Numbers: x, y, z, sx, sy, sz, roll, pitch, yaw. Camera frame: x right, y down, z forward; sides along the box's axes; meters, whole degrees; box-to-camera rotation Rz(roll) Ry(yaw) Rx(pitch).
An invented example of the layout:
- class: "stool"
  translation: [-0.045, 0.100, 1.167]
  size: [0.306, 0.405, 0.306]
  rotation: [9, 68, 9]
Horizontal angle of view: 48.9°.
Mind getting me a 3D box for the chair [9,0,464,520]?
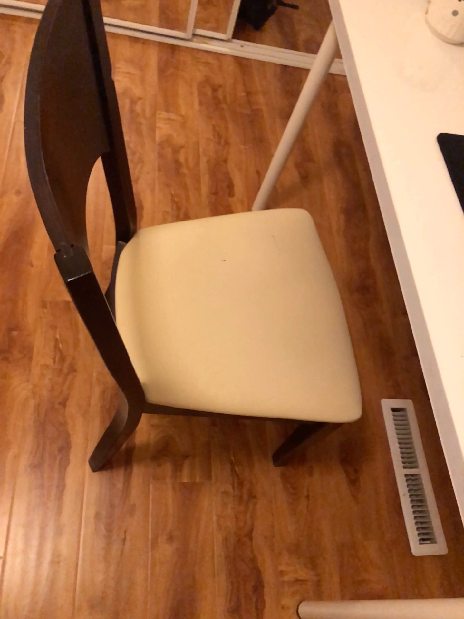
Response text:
- class: "chair"
  translation: [-0.015, -0.014, 0.864]
  size: [0.511, 0.847, 0.531]
  rotation: [-3, 62, -14]
